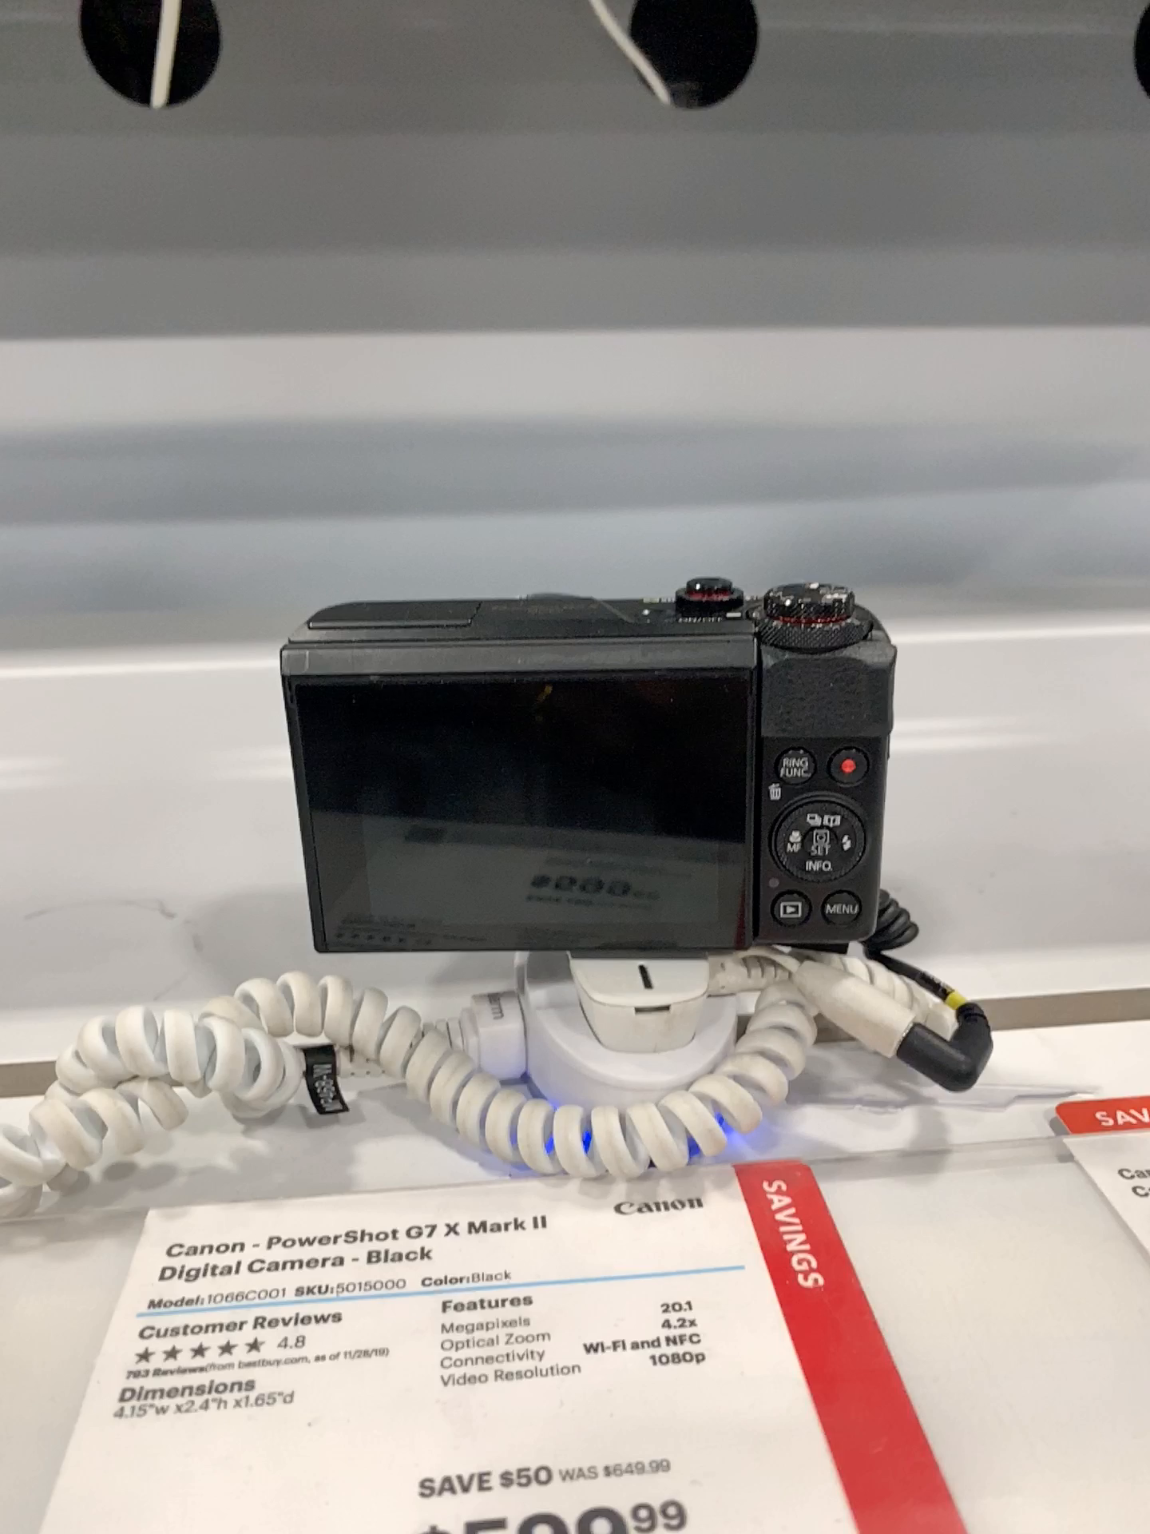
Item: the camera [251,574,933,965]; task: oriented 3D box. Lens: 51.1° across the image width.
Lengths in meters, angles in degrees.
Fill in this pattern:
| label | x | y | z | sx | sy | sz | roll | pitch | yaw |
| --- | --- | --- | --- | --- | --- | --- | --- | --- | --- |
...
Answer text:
| label | x | y | z | sx | sy | sz | roll | pitch | yaw |
| --- | --- | --- | --- | --- | --- | --- | --- | --- | --- |
| camera | 0.003 | -0.001 | 0.225 | 0.110 | 0.060 | 0.044 | 1 | 21 | 1 |
